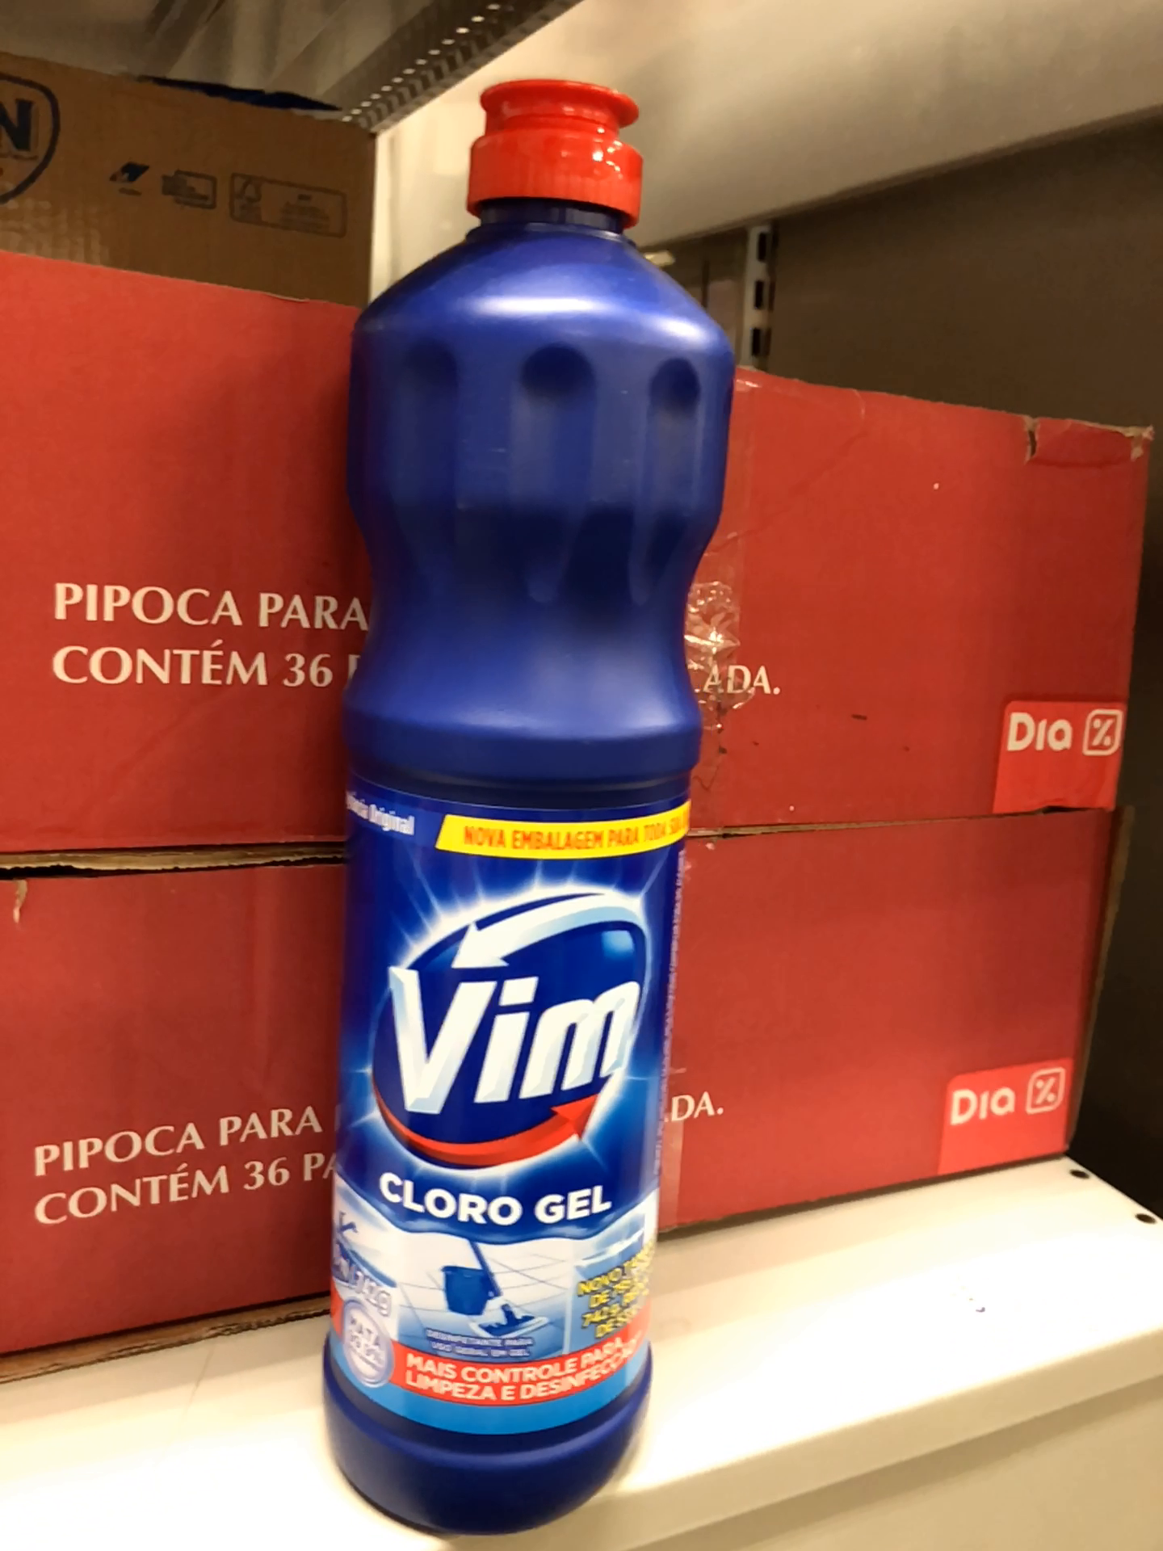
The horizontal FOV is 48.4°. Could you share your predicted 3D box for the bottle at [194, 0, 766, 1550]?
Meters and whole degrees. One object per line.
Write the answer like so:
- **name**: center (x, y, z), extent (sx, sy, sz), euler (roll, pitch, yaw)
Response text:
- **bottle**: center (-0.020, 0.007, 0.213), extent (0.070, 0.229, 0.060), euler (0, 13, -8)
